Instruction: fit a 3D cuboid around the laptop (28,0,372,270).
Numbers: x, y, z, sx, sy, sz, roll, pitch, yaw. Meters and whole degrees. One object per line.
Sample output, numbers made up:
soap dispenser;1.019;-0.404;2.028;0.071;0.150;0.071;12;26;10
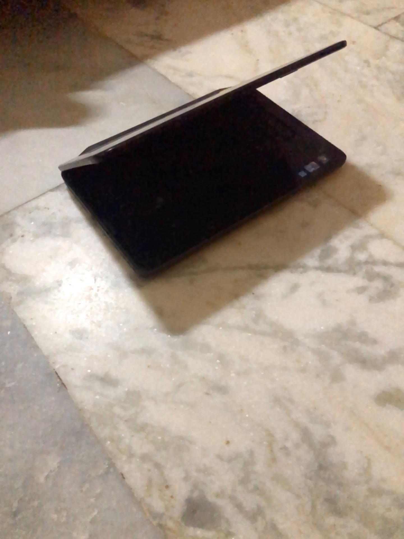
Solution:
laptop;0.001;-0.205;0.606;0.351;0.161;0.234;-32;58;-21
